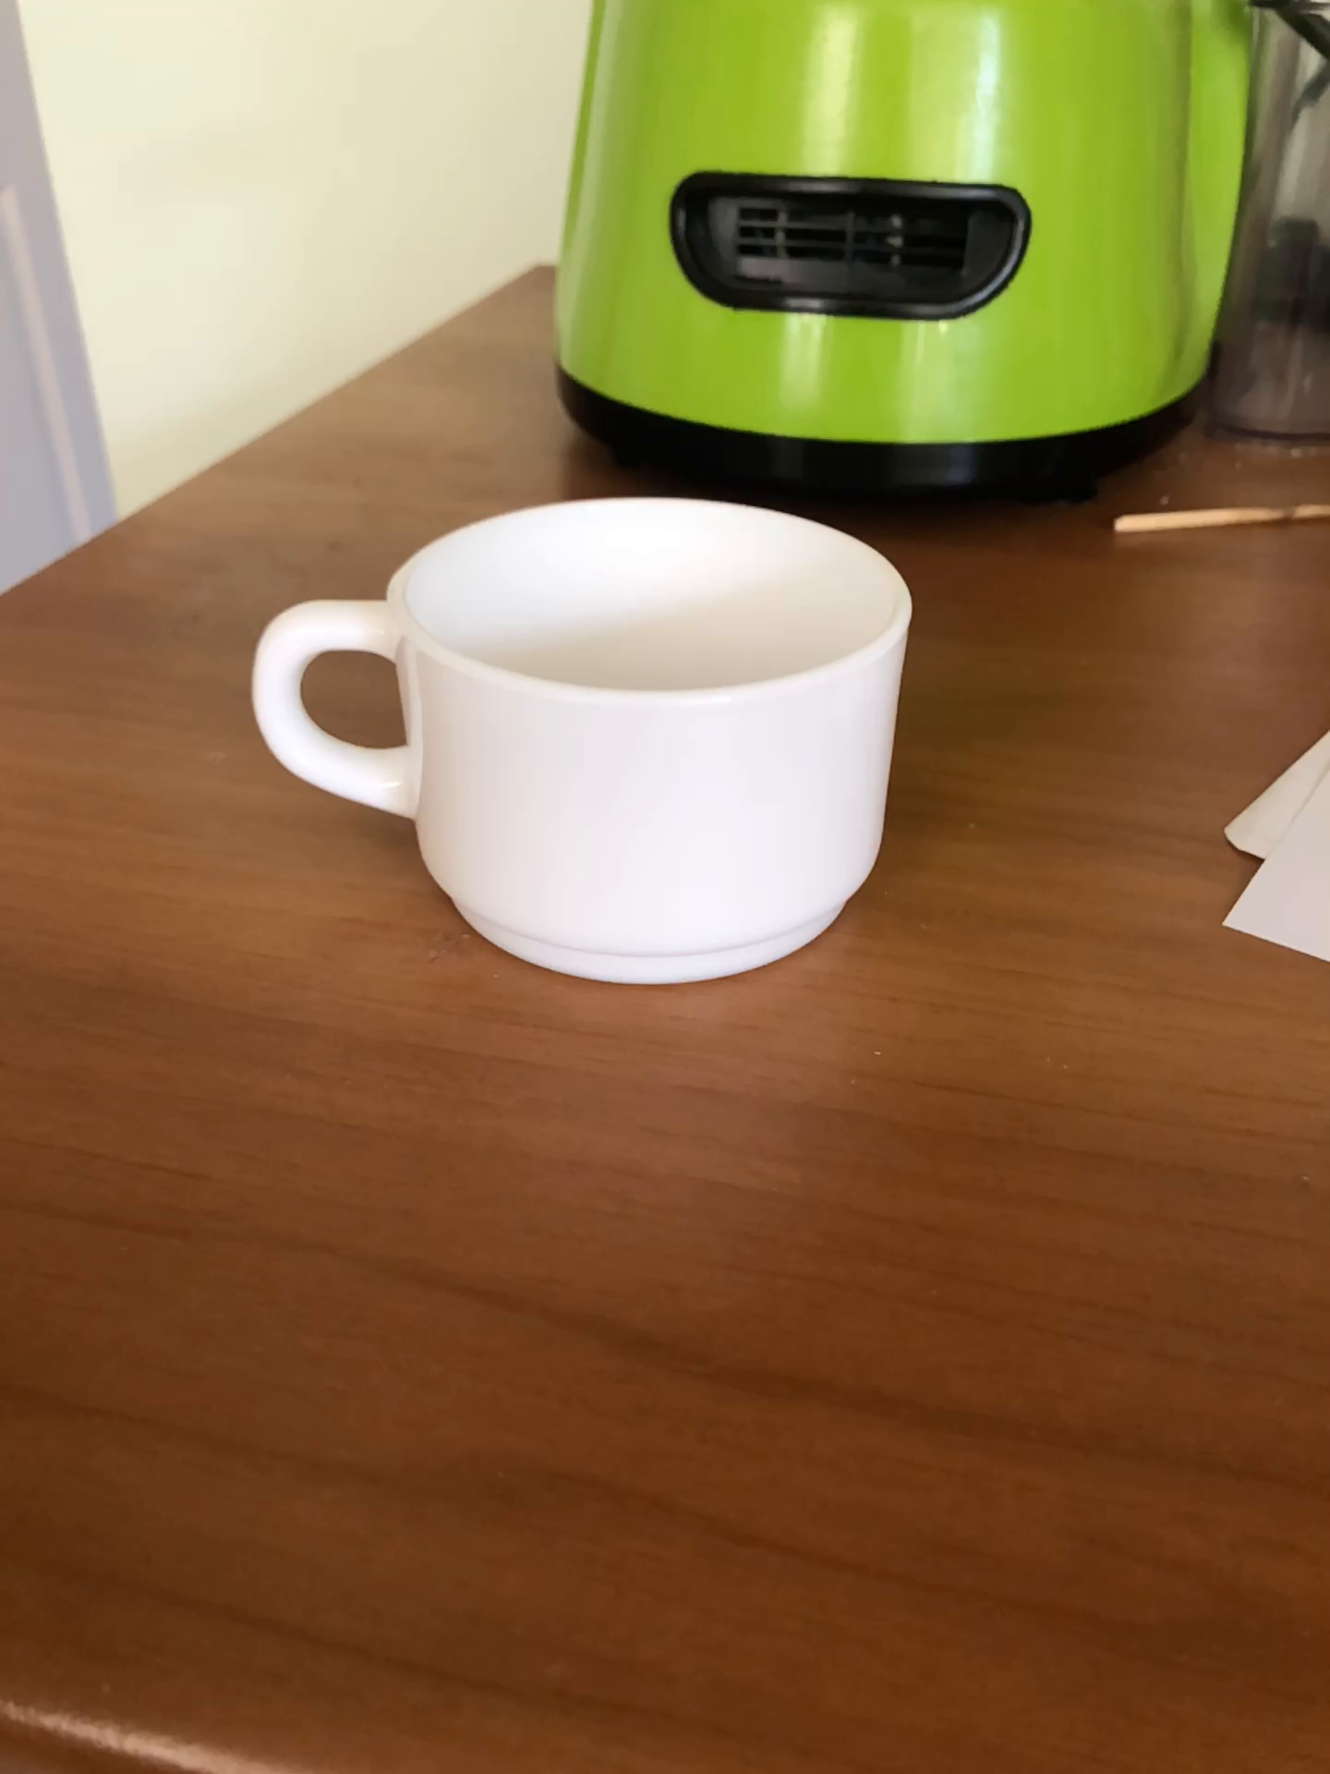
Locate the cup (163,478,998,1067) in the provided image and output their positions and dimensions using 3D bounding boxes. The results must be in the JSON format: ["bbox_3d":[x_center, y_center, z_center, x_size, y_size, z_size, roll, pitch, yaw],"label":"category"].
[{"bbox_3d":[-0.007,-0.022,0.223,0.100,0.050,0.081,4,33,4],"label":"cup"}]
